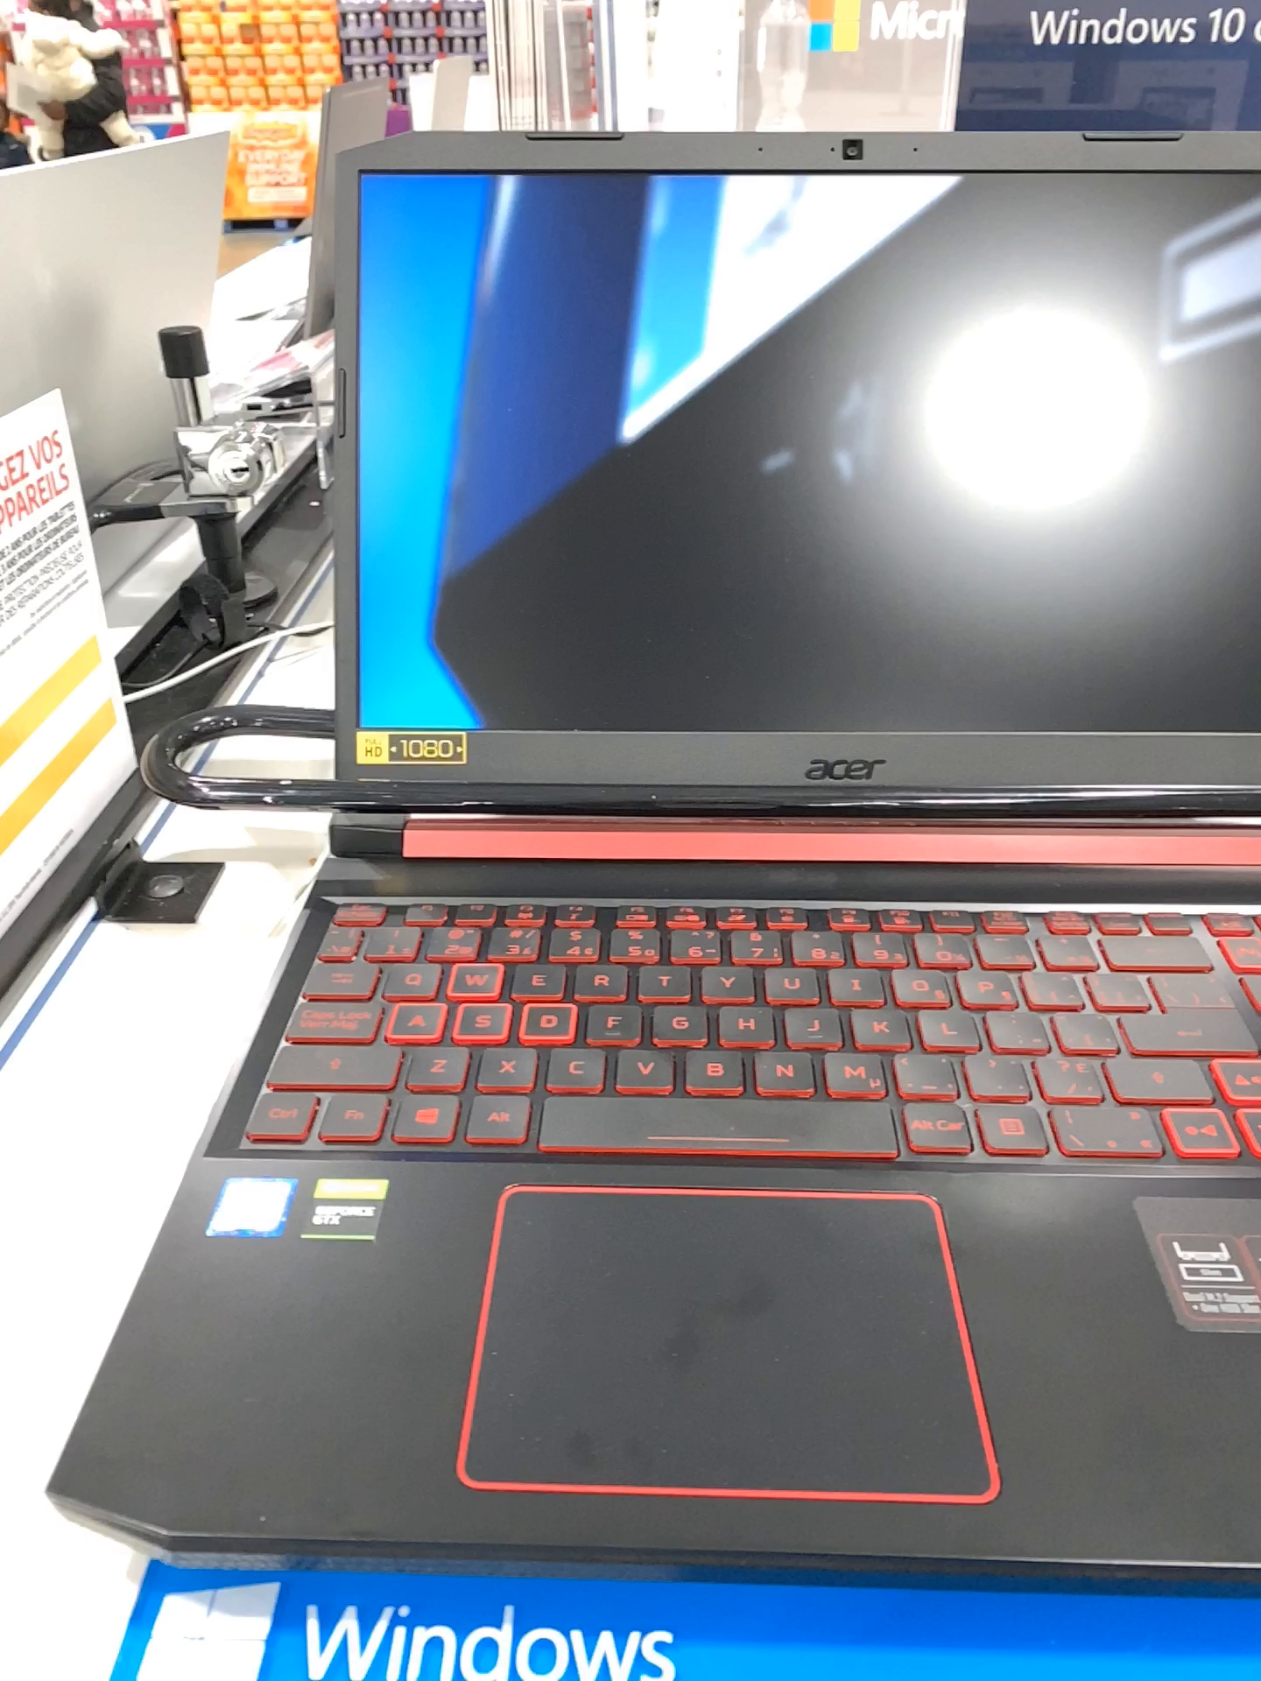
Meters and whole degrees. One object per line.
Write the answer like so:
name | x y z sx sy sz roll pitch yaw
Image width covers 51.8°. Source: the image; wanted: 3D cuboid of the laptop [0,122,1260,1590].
laptop | 0.066 -0.063 0.353 0.358 0.198 0.381 1 33 3
